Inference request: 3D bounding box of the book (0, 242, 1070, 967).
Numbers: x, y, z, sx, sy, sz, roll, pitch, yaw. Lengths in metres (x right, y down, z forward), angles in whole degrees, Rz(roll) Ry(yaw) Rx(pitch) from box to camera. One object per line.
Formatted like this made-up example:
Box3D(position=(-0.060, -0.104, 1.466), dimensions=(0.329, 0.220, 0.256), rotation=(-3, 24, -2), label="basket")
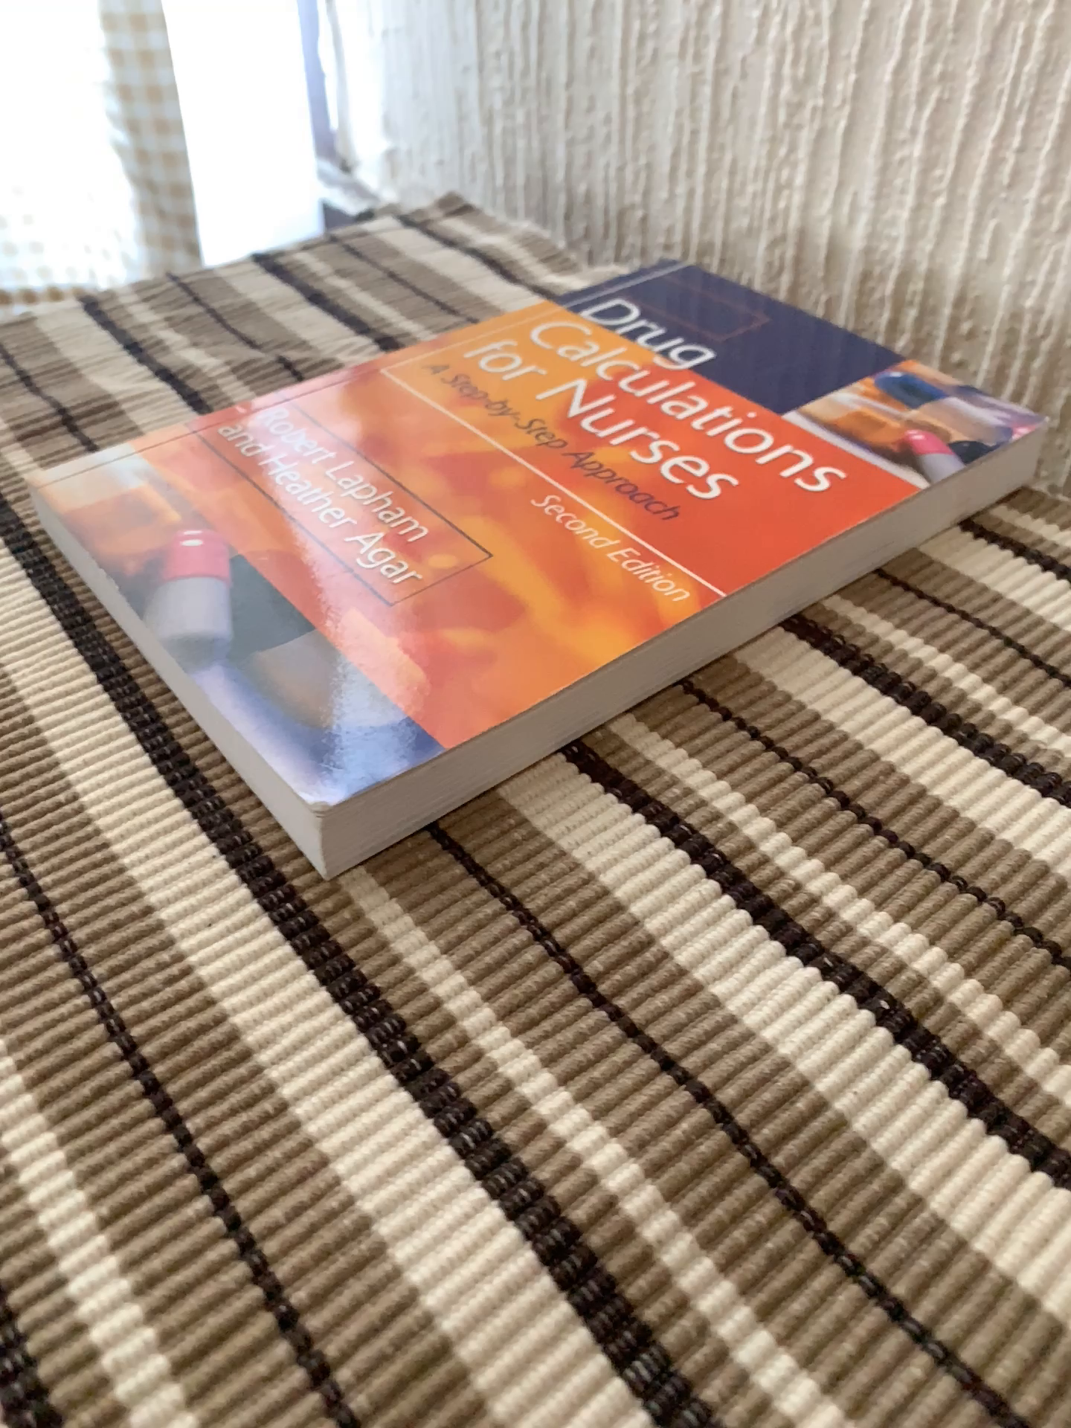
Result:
Box3D(position=(0.002, -0.053, 0.260), dimensions=(0.221, 0.020, 0.141), rotation=(-29, 50, -27), label="book")
